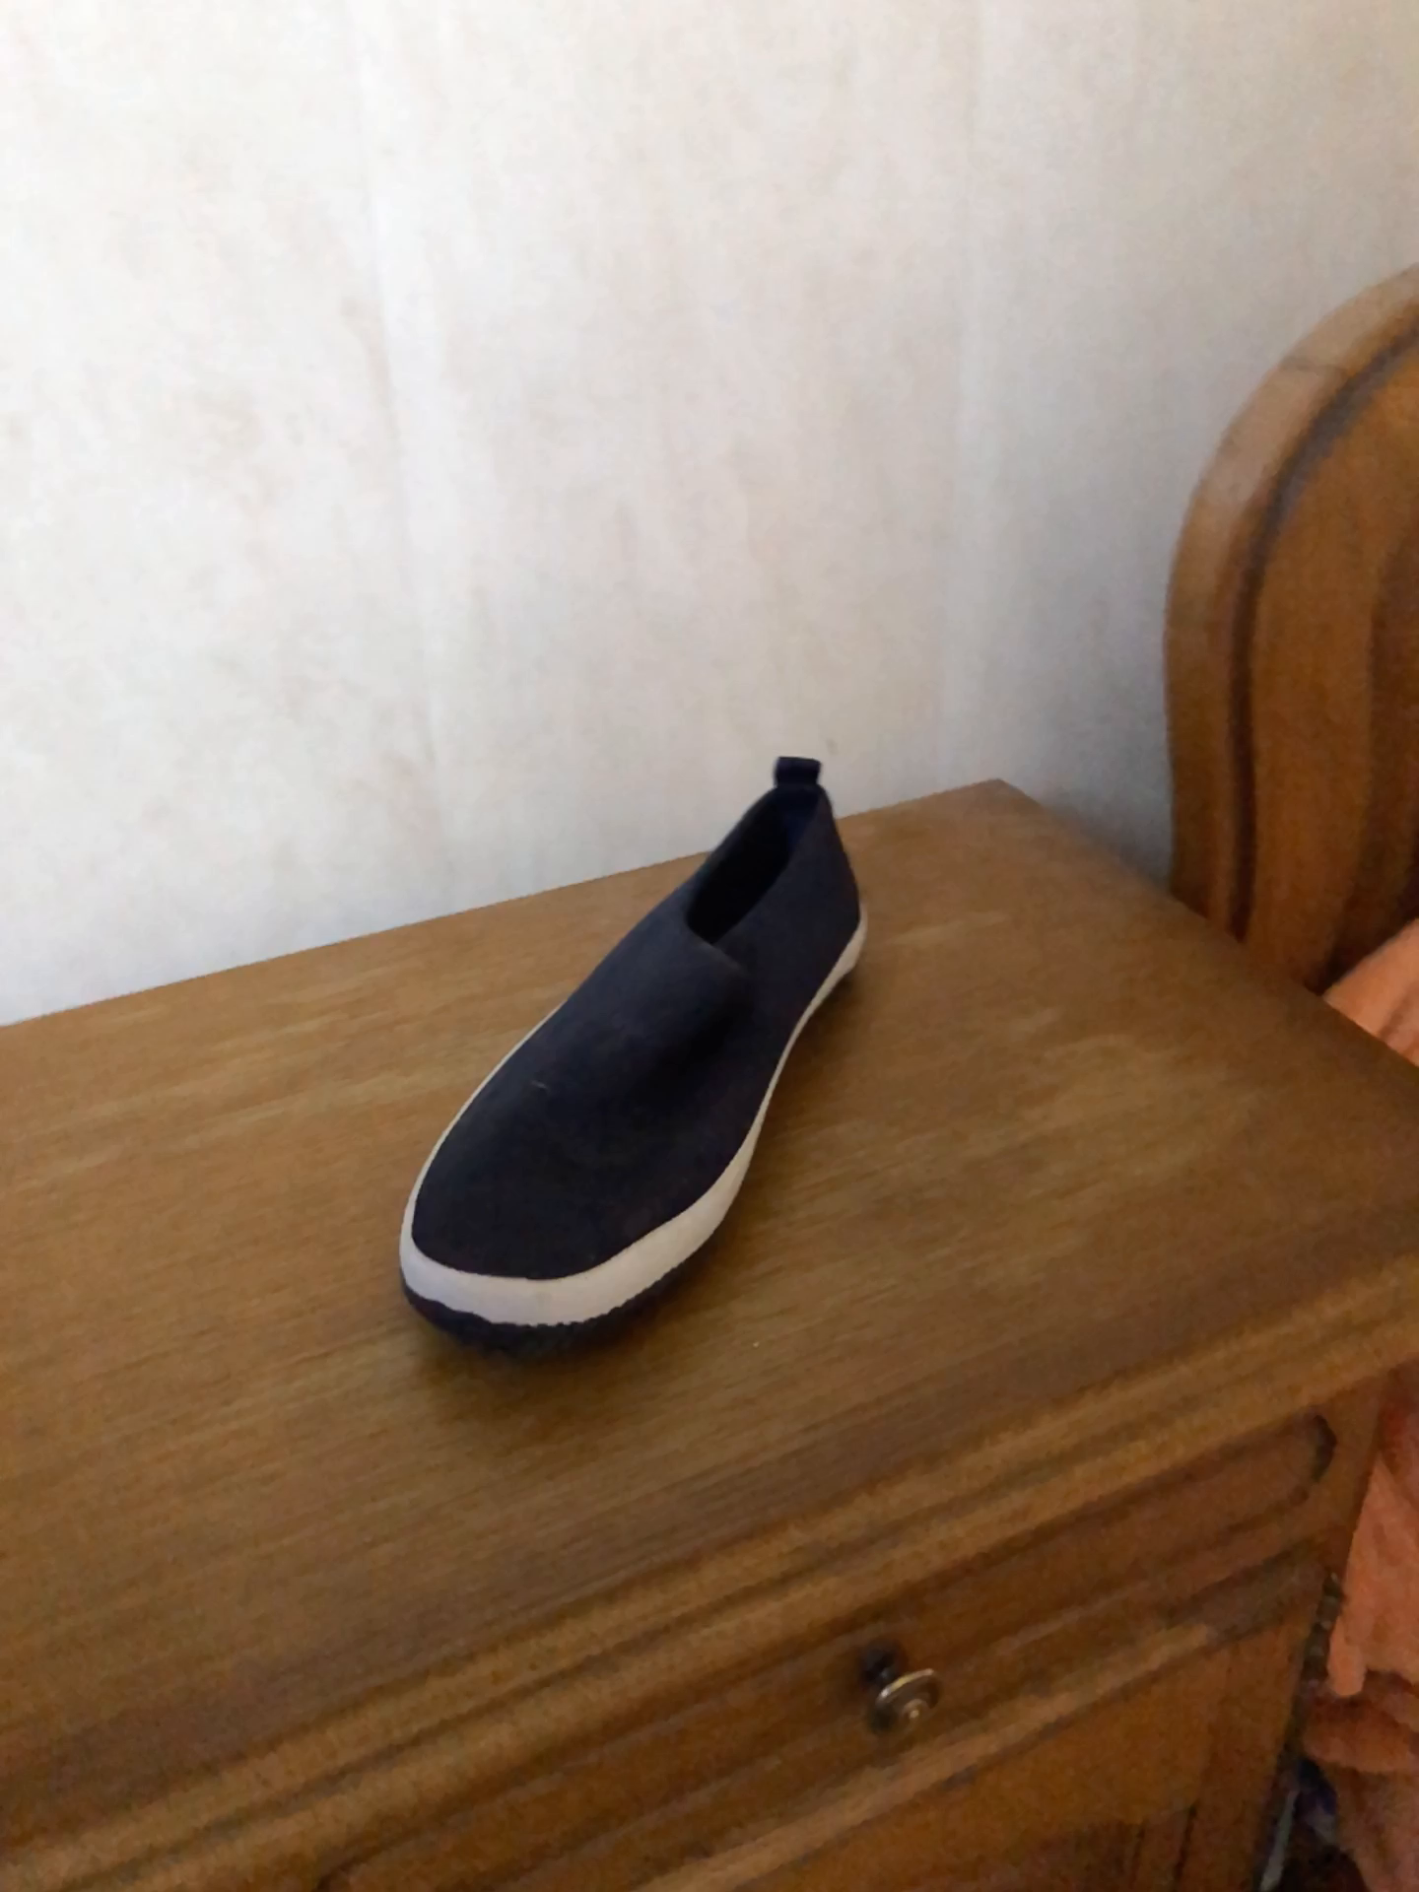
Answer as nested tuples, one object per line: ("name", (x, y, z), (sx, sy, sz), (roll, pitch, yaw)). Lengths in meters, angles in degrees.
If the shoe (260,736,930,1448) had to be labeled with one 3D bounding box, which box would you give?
("shoe", (-0.016, 0.024, 0.504), (0.100, 0.080, 0.262), (11, 33, 20))
